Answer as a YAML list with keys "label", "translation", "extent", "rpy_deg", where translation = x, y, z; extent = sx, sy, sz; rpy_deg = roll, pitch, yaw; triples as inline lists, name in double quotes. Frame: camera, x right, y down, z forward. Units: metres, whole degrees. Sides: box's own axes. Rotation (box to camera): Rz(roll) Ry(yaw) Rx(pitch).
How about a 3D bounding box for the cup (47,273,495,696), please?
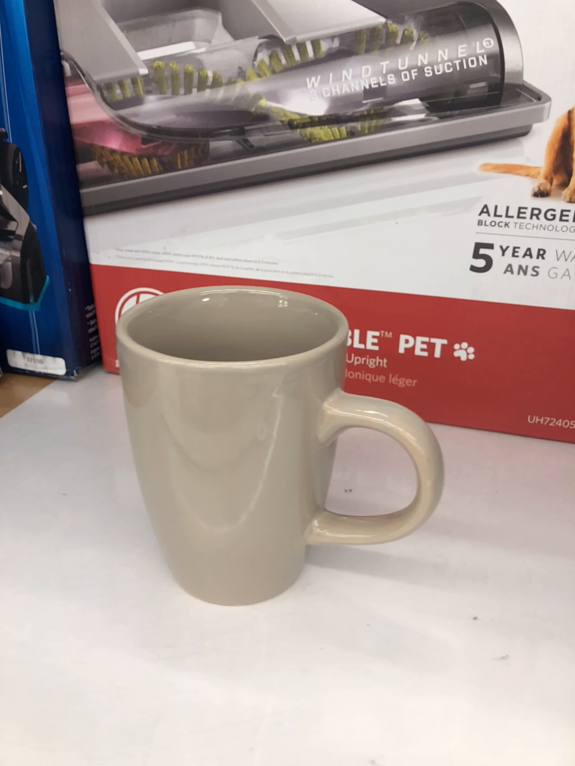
- label: "cup"
  translation: [-0.003, 0.024, 0.237]
  extent: [0.125, 0.092, 0.088]
  rpy_deg: [13, 28, 24]
